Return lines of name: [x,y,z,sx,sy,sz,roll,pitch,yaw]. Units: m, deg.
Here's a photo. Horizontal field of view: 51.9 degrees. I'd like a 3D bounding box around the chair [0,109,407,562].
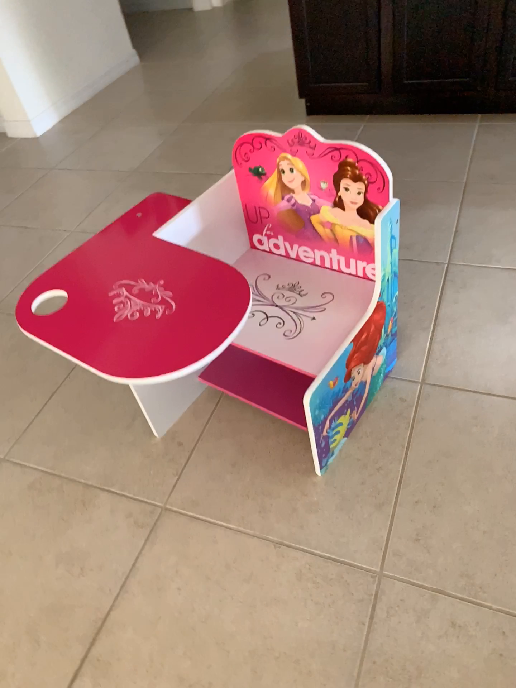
chair: [-0.071,-0.055,1.062,0.533,0.566,0.552,19,51,29]
